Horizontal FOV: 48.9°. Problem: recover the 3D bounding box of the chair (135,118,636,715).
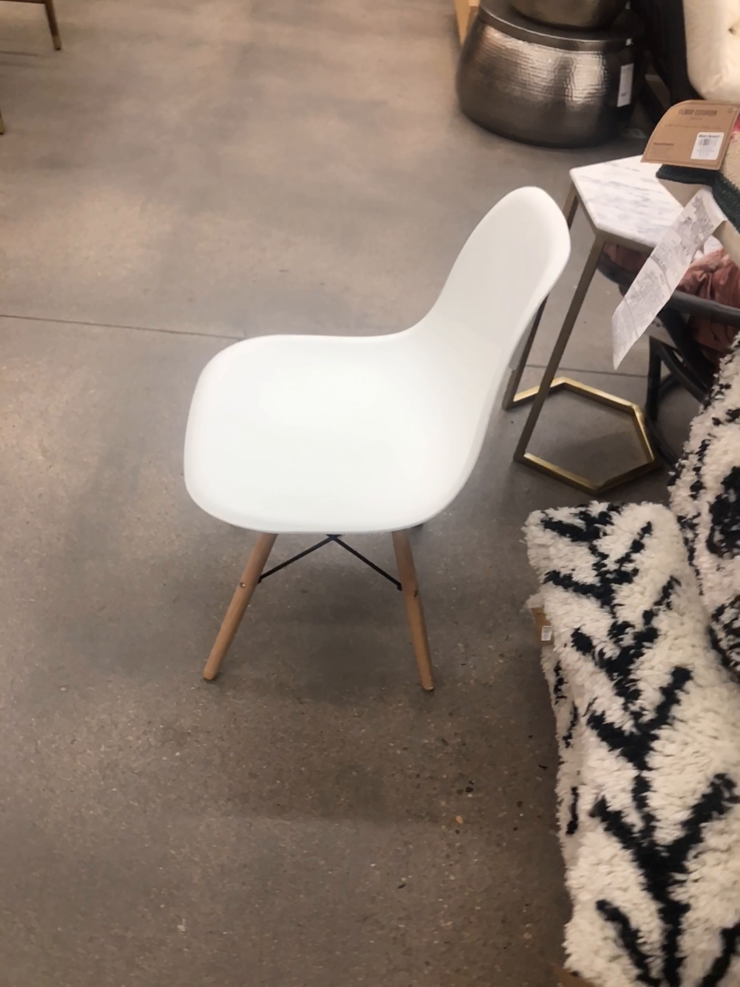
[{"bbox_3d":[-0.015,-0.070,1.296,0.530,0.806,0.442,5,45,-3],"label":"chair"}]
